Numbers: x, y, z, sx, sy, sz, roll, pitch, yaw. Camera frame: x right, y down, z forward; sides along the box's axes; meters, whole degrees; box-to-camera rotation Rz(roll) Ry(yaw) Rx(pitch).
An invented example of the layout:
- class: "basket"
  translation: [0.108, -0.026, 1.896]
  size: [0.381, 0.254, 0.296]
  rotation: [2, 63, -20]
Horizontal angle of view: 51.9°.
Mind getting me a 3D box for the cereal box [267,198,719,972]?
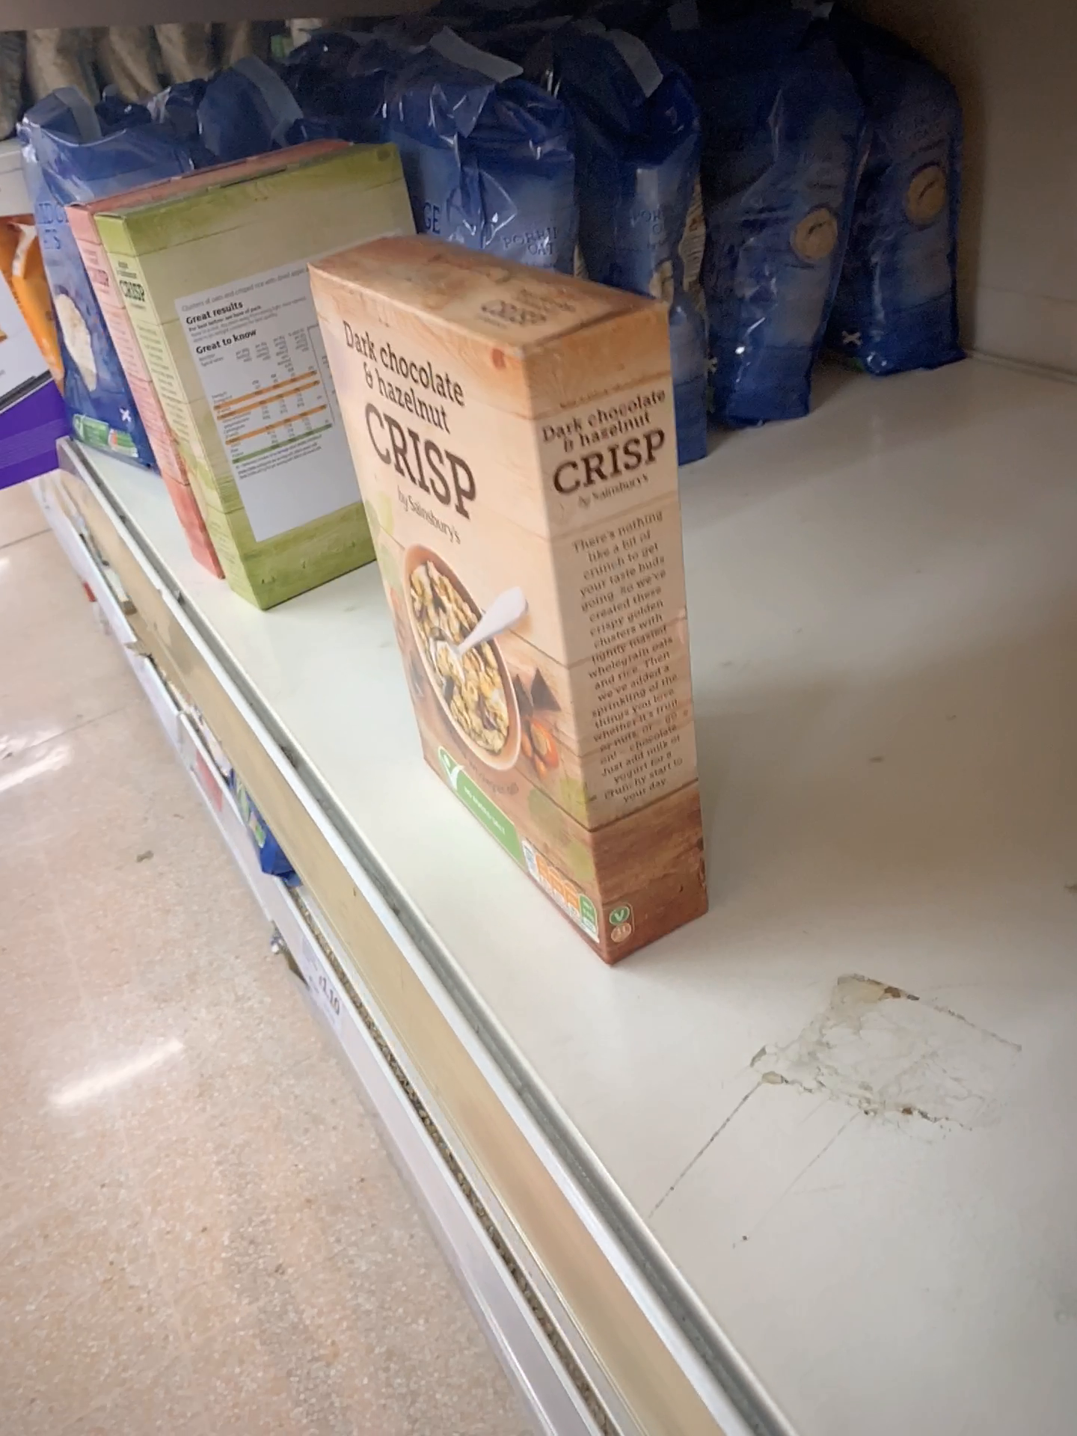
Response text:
- class: "cereal box"
  translation: [-0.016, -0.057, 0.439]
  size: [0.060, 0.248, 0.192]
  rotation: [-24, 37, -20]
